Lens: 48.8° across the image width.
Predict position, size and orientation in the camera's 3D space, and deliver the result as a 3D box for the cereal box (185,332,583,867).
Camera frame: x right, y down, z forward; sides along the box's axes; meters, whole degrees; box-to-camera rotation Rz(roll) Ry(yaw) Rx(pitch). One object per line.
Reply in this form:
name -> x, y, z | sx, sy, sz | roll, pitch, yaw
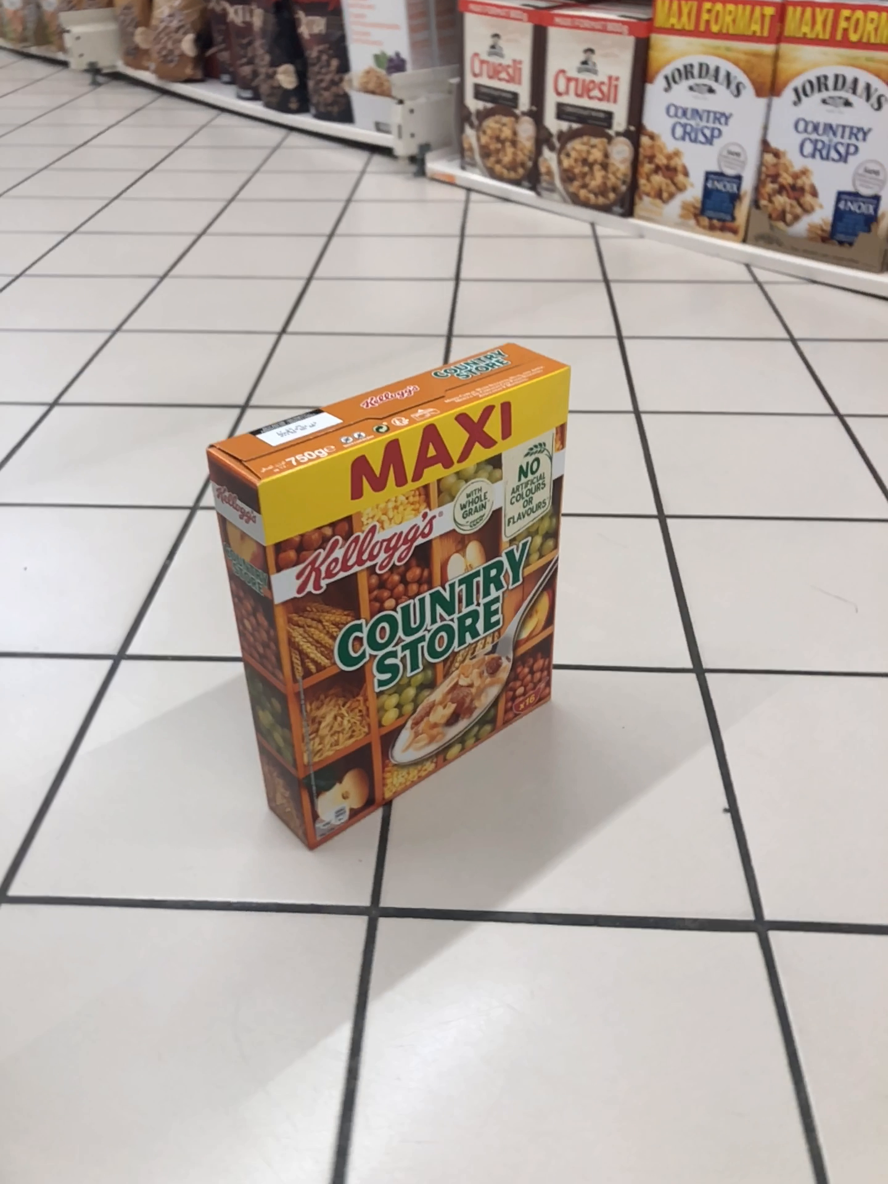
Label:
cereal box -> -0.021, 0.003, 0.547 | 0.201, 0.239, 0.060 | -27, 43, -32
